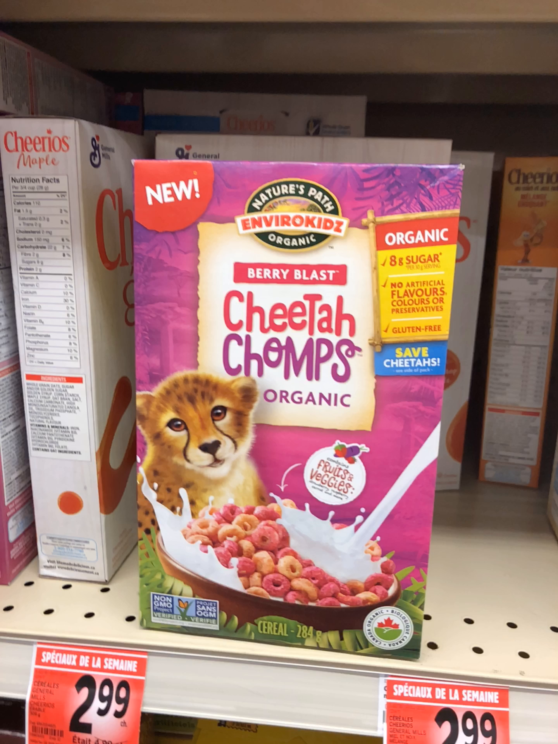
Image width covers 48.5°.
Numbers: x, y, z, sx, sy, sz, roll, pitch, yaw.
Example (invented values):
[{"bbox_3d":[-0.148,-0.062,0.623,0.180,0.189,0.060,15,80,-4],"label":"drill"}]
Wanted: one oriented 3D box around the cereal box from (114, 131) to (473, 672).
[{"bbox_3d":[0.004,0.013,0.334,0.160,0.259,0.070,4,12,8],"label":"cereal box"}]
